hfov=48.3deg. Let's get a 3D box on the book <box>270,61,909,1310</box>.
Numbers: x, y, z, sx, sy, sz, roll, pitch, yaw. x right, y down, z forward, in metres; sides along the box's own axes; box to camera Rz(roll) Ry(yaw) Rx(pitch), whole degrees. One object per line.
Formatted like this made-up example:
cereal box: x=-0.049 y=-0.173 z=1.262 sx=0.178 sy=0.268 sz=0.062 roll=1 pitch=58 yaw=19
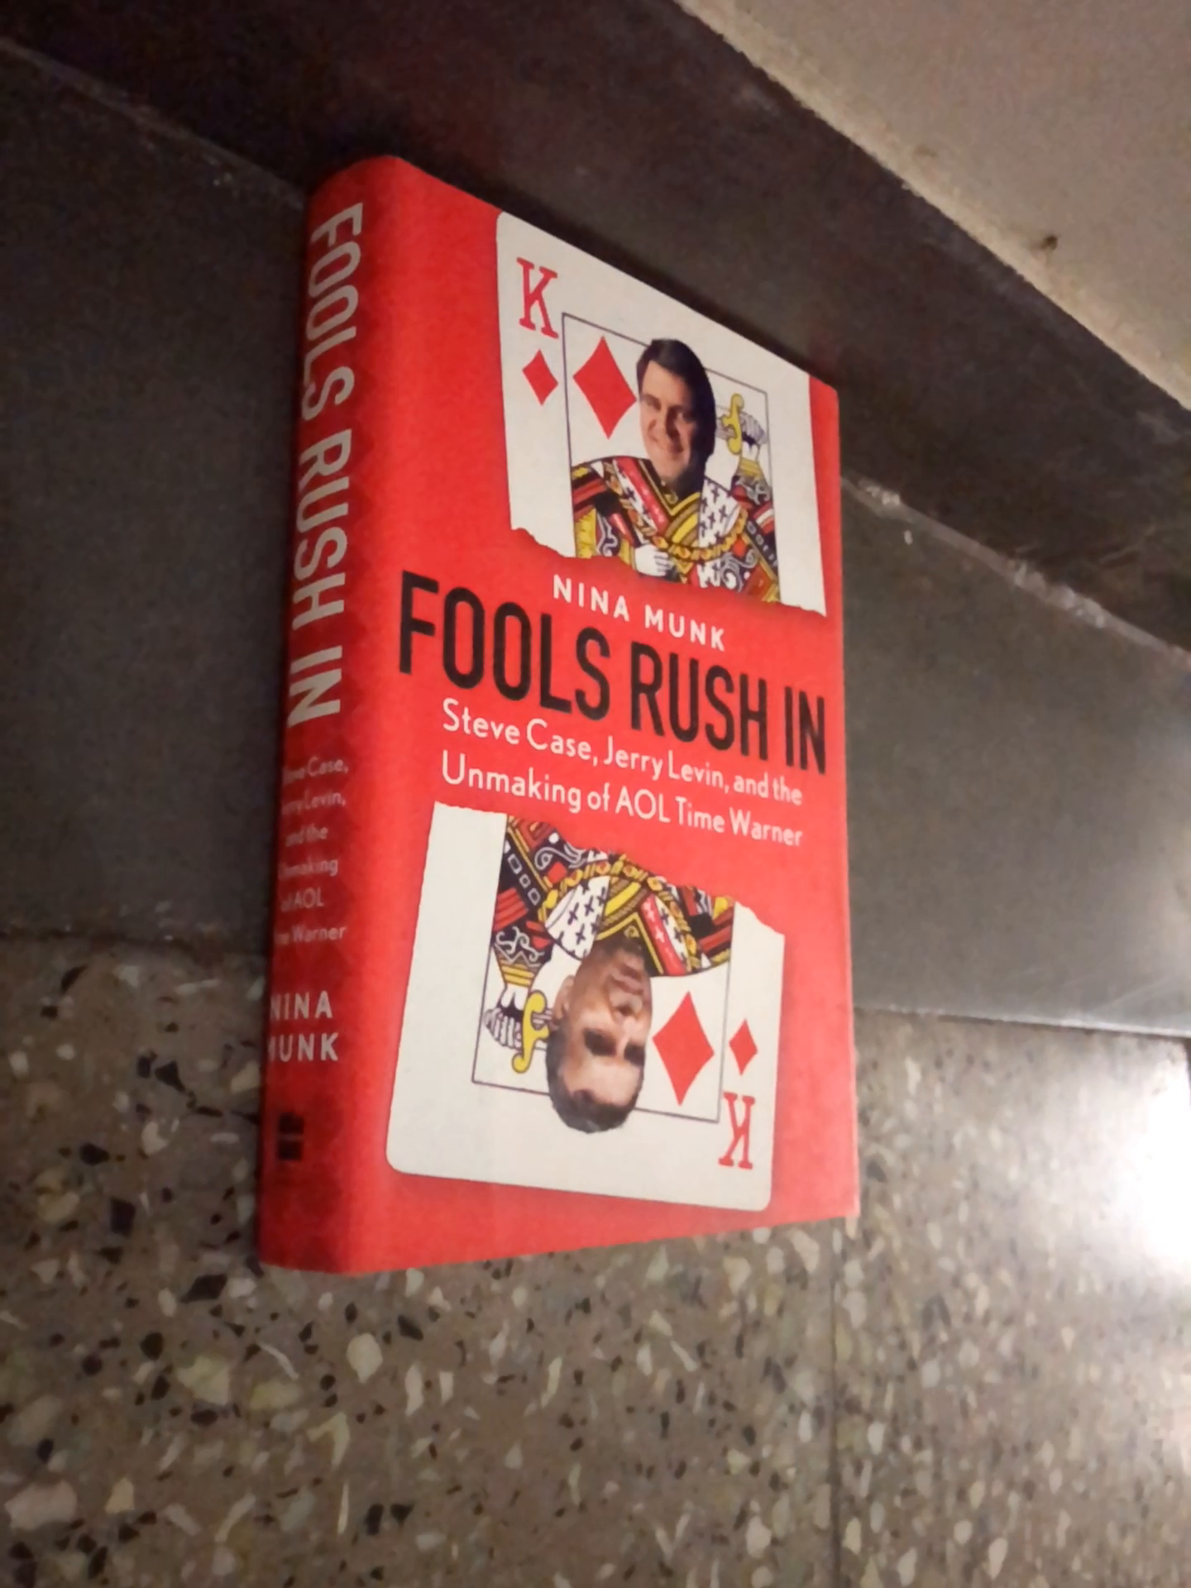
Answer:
book: x=0.008 y=-0.022 z=0.347 sx=0.181 sy=0.030 sz=0.270 roll=10 pitch=74 yaw=-42
